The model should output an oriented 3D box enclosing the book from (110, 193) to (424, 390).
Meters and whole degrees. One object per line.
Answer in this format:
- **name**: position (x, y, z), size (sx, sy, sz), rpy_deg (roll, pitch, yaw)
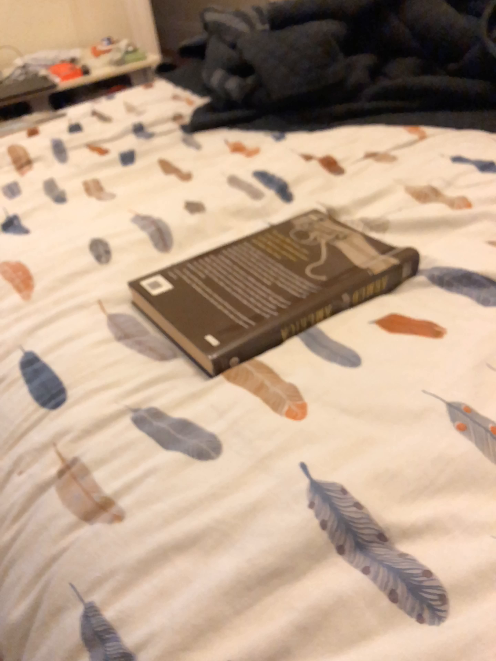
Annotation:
- **book**: position (0.016, -0.056, 0.538), size (0.240, 0.030, 0.181), rpy_deg (-27, 40, -23)
